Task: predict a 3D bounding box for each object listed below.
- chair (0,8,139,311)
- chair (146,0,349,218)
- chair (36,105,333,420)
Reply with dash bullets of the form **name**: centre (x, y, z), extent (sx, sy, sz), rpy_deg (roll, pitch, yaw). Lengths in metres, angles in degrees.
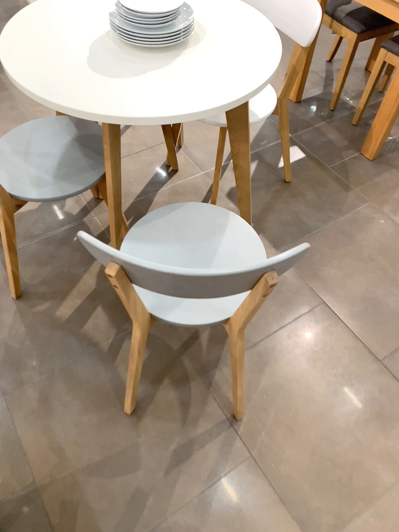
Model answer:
- **chair**: centre (-0.614, -0.353, 1.475), extent (0.542, 0.799, 0.522), rpy_deg (-25, 59, -20)
- **chair**: centre (0.149, -0.754, 1.786), extent (0.541, 0.799, 0.522), rpy_deg (-24, 58, -19)
- **chair**: centre (-0.034, 0.056, 1.184), extent (0.519, 0.799, 0.534), rpy_deg (2, 54, -1)
